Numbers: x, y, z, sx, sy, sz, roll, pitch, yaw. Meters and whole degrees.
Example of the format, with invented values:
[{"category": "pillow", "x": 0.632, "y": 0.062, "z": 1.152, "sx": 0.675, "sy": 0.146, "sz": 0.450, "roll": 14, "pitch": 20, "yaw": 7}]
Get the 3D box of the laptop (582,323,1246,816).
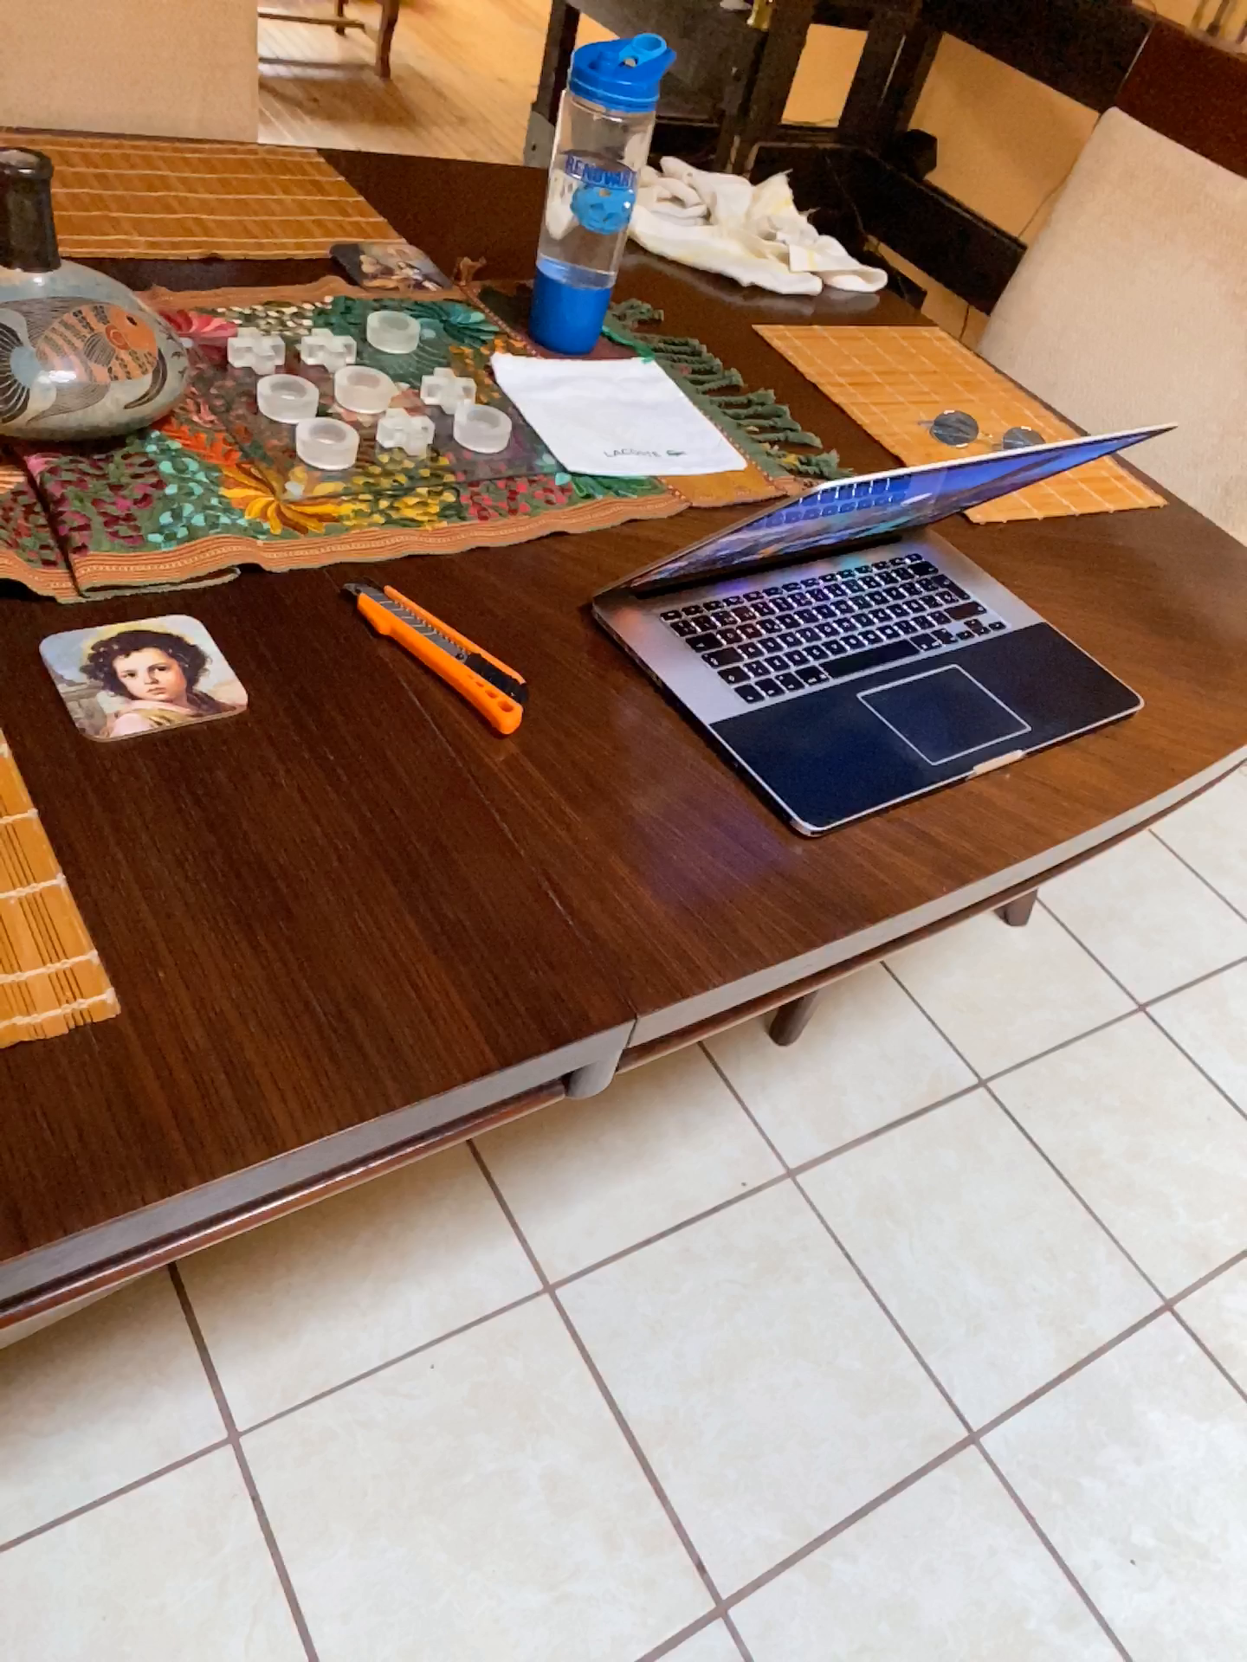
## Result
[{"category": "laptop", "x": 0.198, "y": -0.199, "z": 0.872, "sx": 0.356, "sy": 0.181, "sz": 0.236, "roll": -19, "pitch": 53, "yaw": -34}]
